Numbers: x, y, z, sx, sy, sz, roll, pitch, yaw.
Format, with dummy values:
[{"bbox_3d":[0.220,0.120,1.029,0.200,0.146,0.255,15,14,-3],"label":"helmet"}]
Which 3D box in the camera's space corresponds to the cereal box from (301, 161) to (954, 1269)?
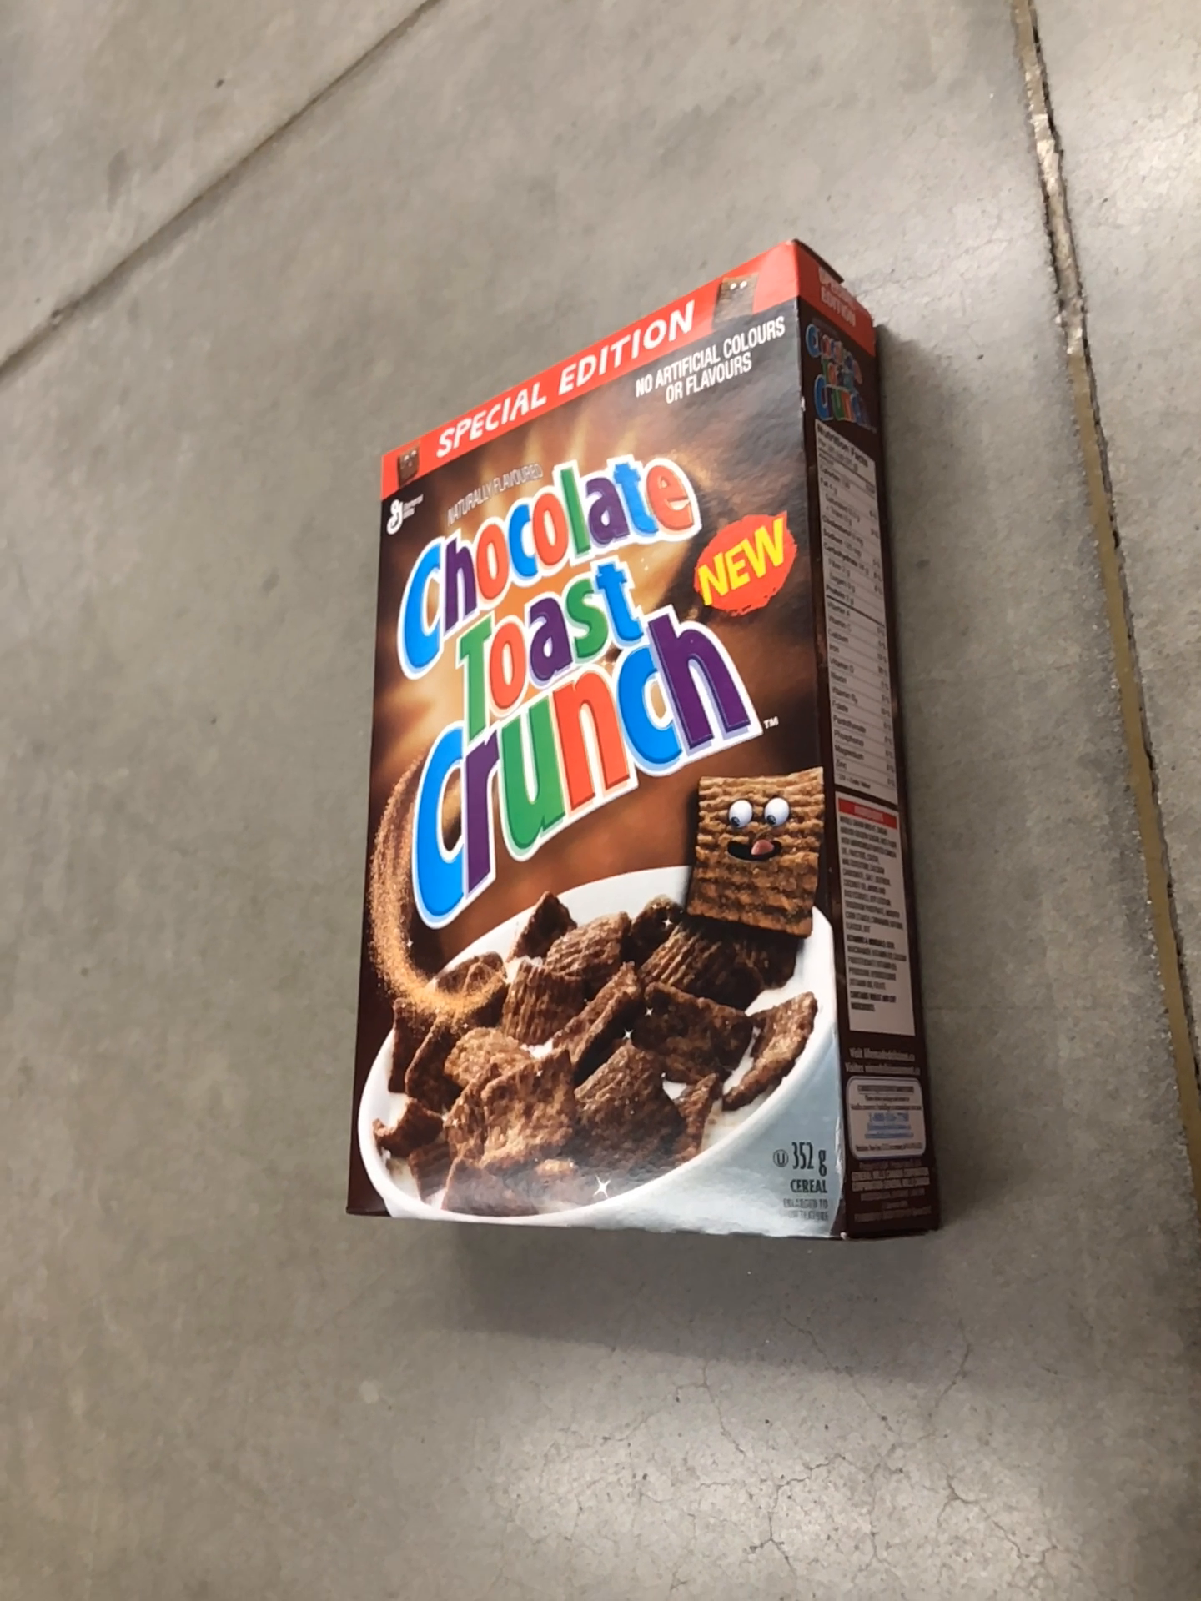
[{"bbox_3d":[0.003,-0.017,0.434,0.191,0.070,0.310,-12,68,39],"label":"cereal box"}]
